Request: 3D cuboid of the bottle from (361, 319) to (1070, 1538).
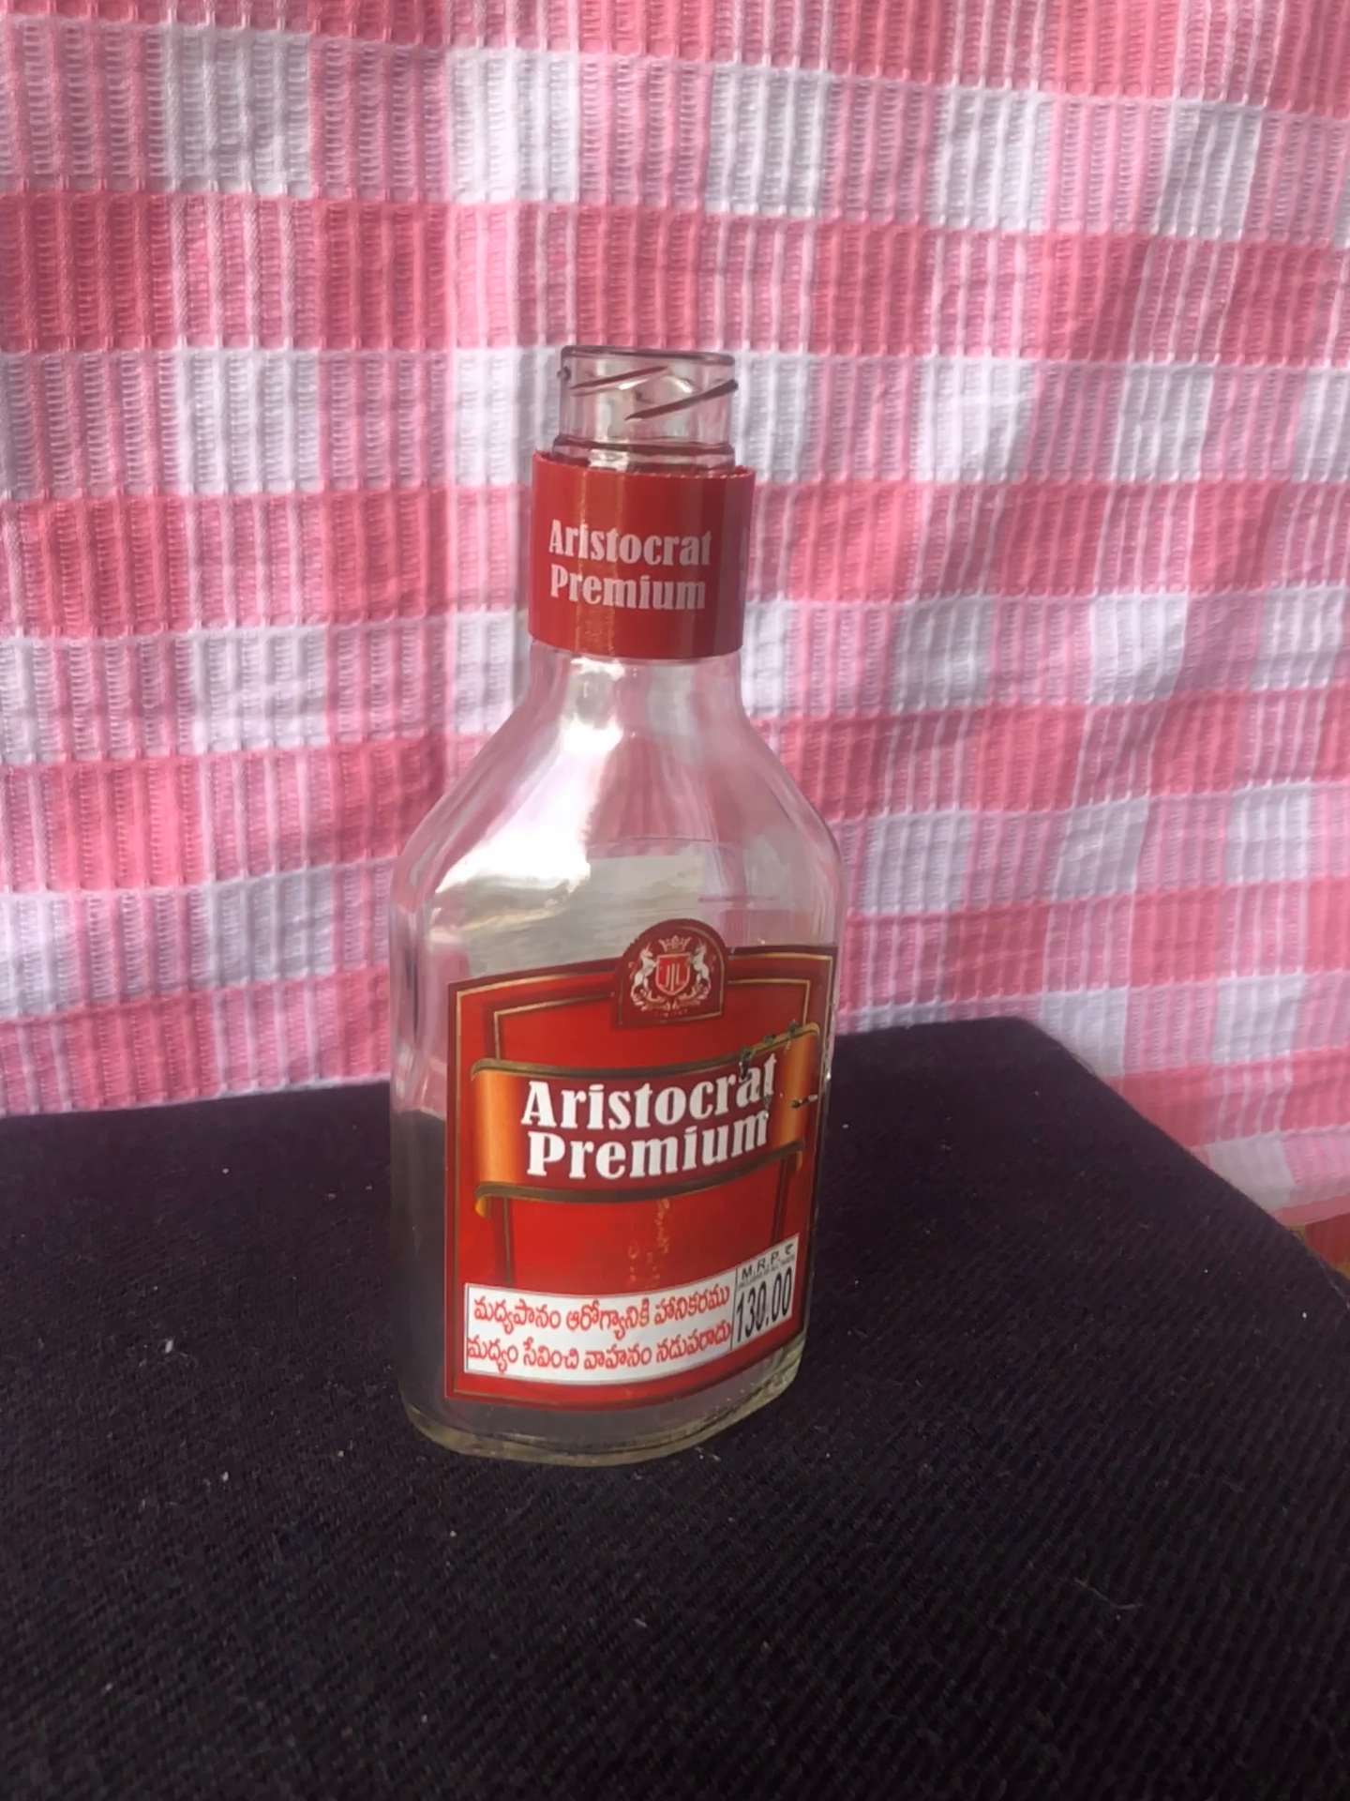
[{"bbox_3d":[-0.003,0.004,0.206,0.070,0.149,0.050,-3,23,-19],"label":"bottle"}]
